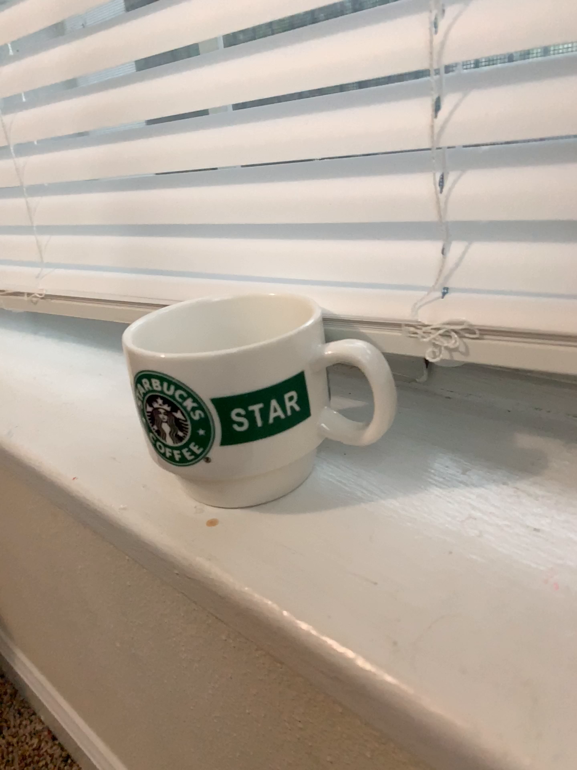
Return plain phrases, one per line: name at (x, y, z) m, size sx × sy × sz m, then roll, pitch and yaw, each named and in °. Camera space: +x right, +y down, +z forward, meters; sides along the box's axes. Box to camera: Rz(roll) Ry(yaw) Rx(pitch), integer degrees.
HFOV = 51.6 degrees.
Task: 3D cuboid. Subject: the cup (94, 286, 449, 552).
cup at (-0.001, 0.004, 0.214) m, size 0.100 × 0.060 × 0.070 m, roll 5°, pitch 26°, yaw 25°
